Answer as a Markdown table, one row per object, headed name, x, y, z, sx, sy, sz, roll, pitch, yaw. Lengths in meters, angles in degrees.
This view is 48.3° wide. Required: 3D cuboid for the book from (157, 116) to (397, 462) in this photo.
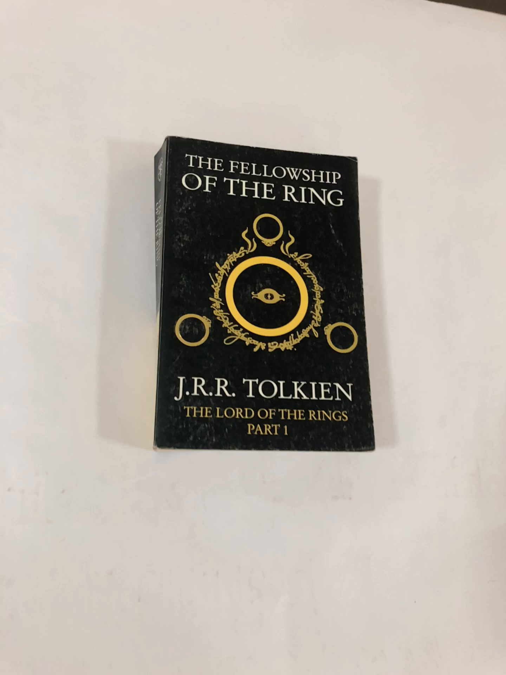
| name | x | y | z | sx | sy | sz | roll | pitch | yaw |
| --- | --- | --- | --- | --- | --- | --- | --- | --- | --- |
| book | 0.017 | -0.030 | 0.353 | 0.130 | 0.050 | 0.200 | 5 | 73 | -7 |
